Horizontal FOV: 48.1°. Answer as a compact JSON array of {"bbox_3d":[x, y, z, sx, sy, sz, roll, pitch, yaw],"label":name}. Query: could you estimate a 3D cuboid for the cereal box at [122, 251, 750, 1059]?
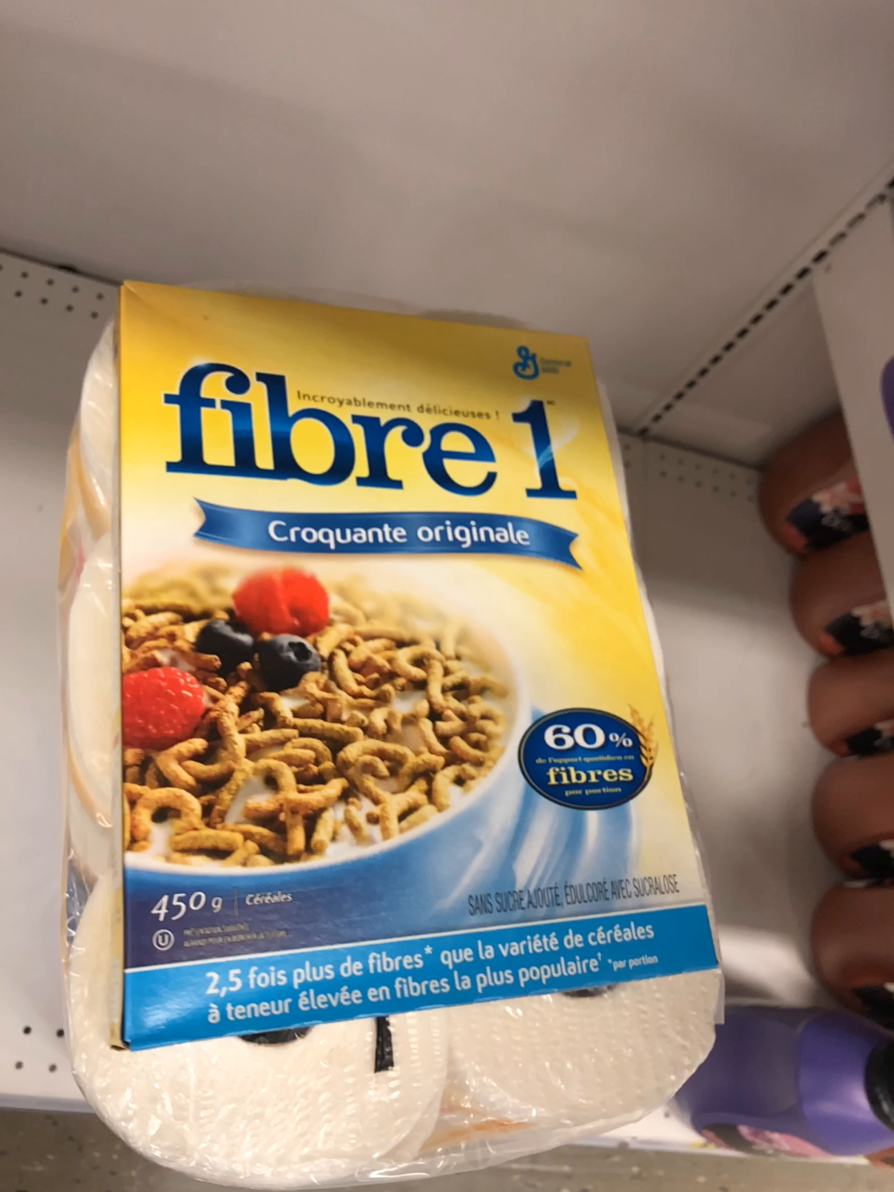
[{"bbox_3d":[-0.014,0.013,0.372,0.200,0.060,0.260,1,70,-21],"label":"cereal box"}]
